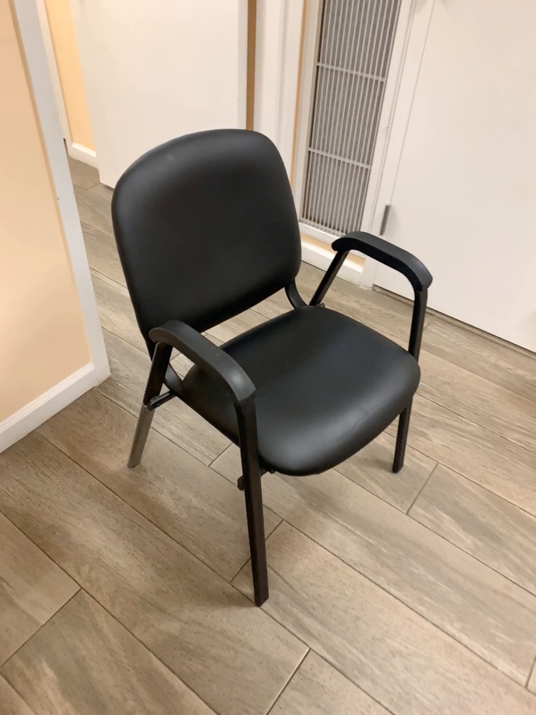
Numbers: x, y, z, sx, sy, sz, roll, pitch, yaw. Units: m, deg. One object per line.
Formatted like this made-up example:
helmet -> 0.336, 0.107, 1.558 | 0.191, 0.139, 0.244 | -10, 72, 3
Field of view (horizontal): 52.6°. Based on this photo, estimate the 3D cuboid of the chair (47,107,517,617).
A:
chair -> 0.010, -0.011, 1.259 | 0.607, 0.817, 0.606 | -31, 52, -32
